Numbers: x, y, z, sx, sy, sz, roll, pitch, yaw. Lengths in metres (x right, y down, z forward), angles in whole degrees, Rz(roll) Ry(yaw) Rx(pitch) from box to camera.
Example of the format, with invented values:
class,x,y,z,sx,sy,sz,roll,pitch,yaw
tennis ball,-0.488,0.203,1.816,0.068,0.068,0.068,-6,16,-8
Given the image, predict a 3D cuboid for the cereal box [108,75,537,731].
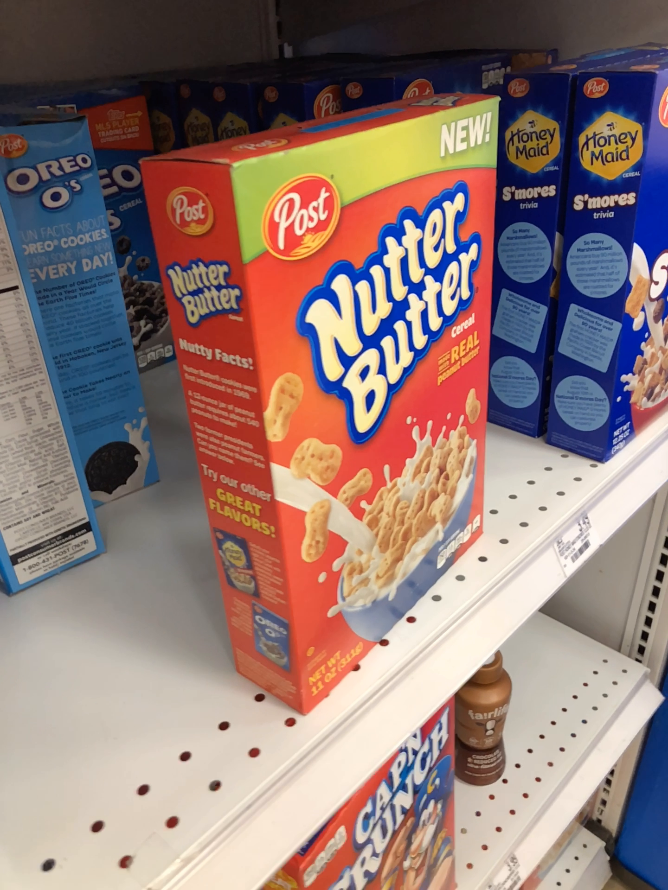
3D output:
class,x,y,z,sx,sy,sz,roll,pitch,yaw
cereal box,0.017,-0.029,0.378,0.070,0.269,0.200,19,37,35
